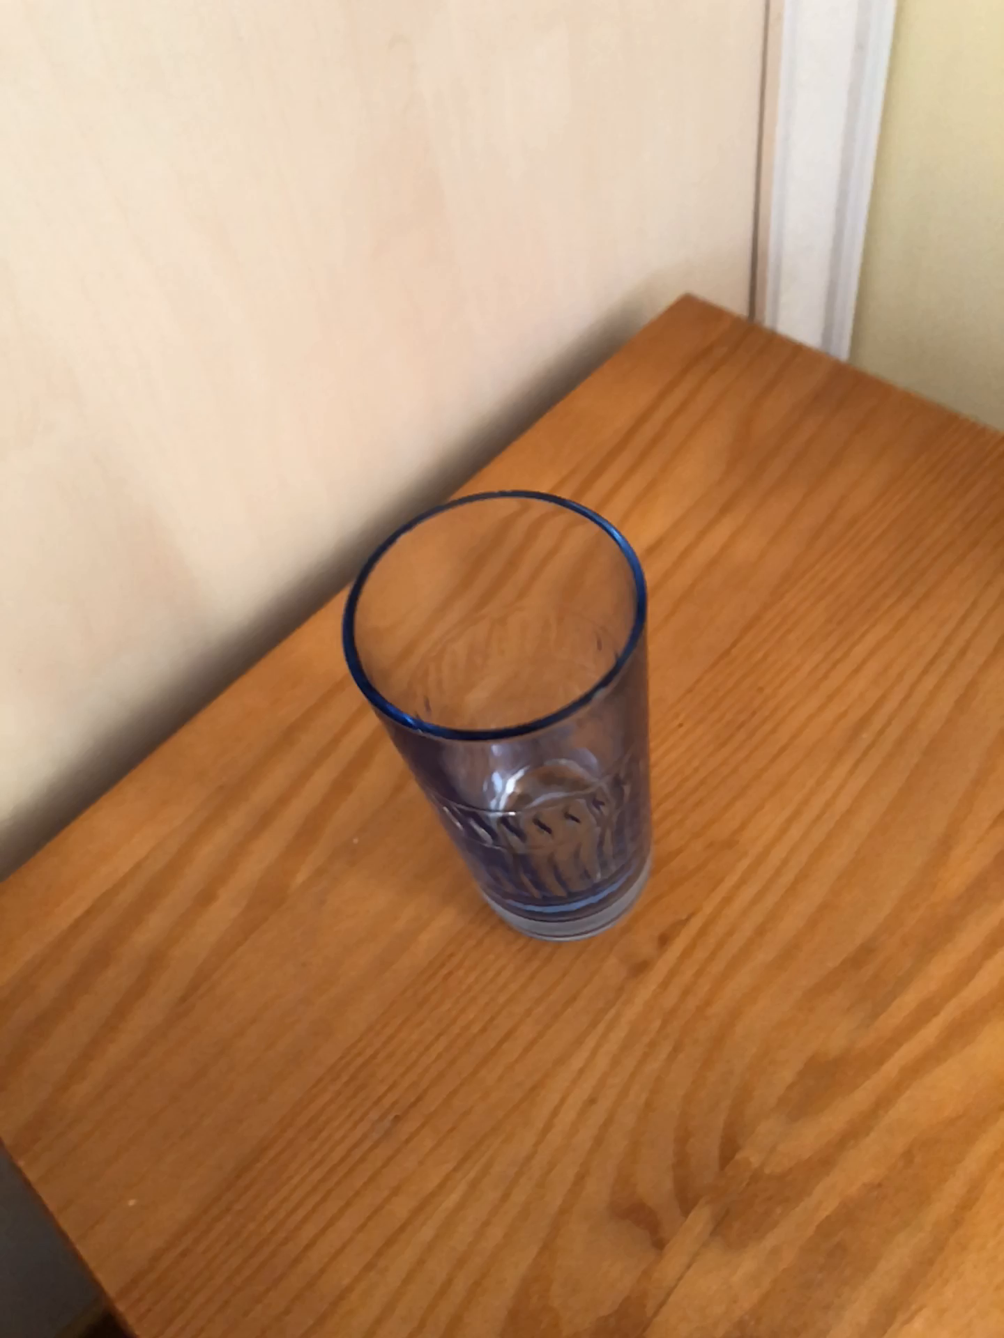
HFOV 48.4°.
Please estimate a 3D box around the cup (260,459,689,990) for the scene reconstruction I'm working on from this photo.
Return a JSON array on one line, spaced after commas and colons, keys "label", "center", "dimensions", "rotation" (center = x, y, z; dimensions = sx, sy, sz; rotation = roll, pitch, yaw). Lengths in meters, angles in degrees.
[{"label": "cup", "center": [0.005, 0.020, 0.291], "dimensions": [0.075, 0.129, 0.070], "rotation": [-5, 55, 7]}]
